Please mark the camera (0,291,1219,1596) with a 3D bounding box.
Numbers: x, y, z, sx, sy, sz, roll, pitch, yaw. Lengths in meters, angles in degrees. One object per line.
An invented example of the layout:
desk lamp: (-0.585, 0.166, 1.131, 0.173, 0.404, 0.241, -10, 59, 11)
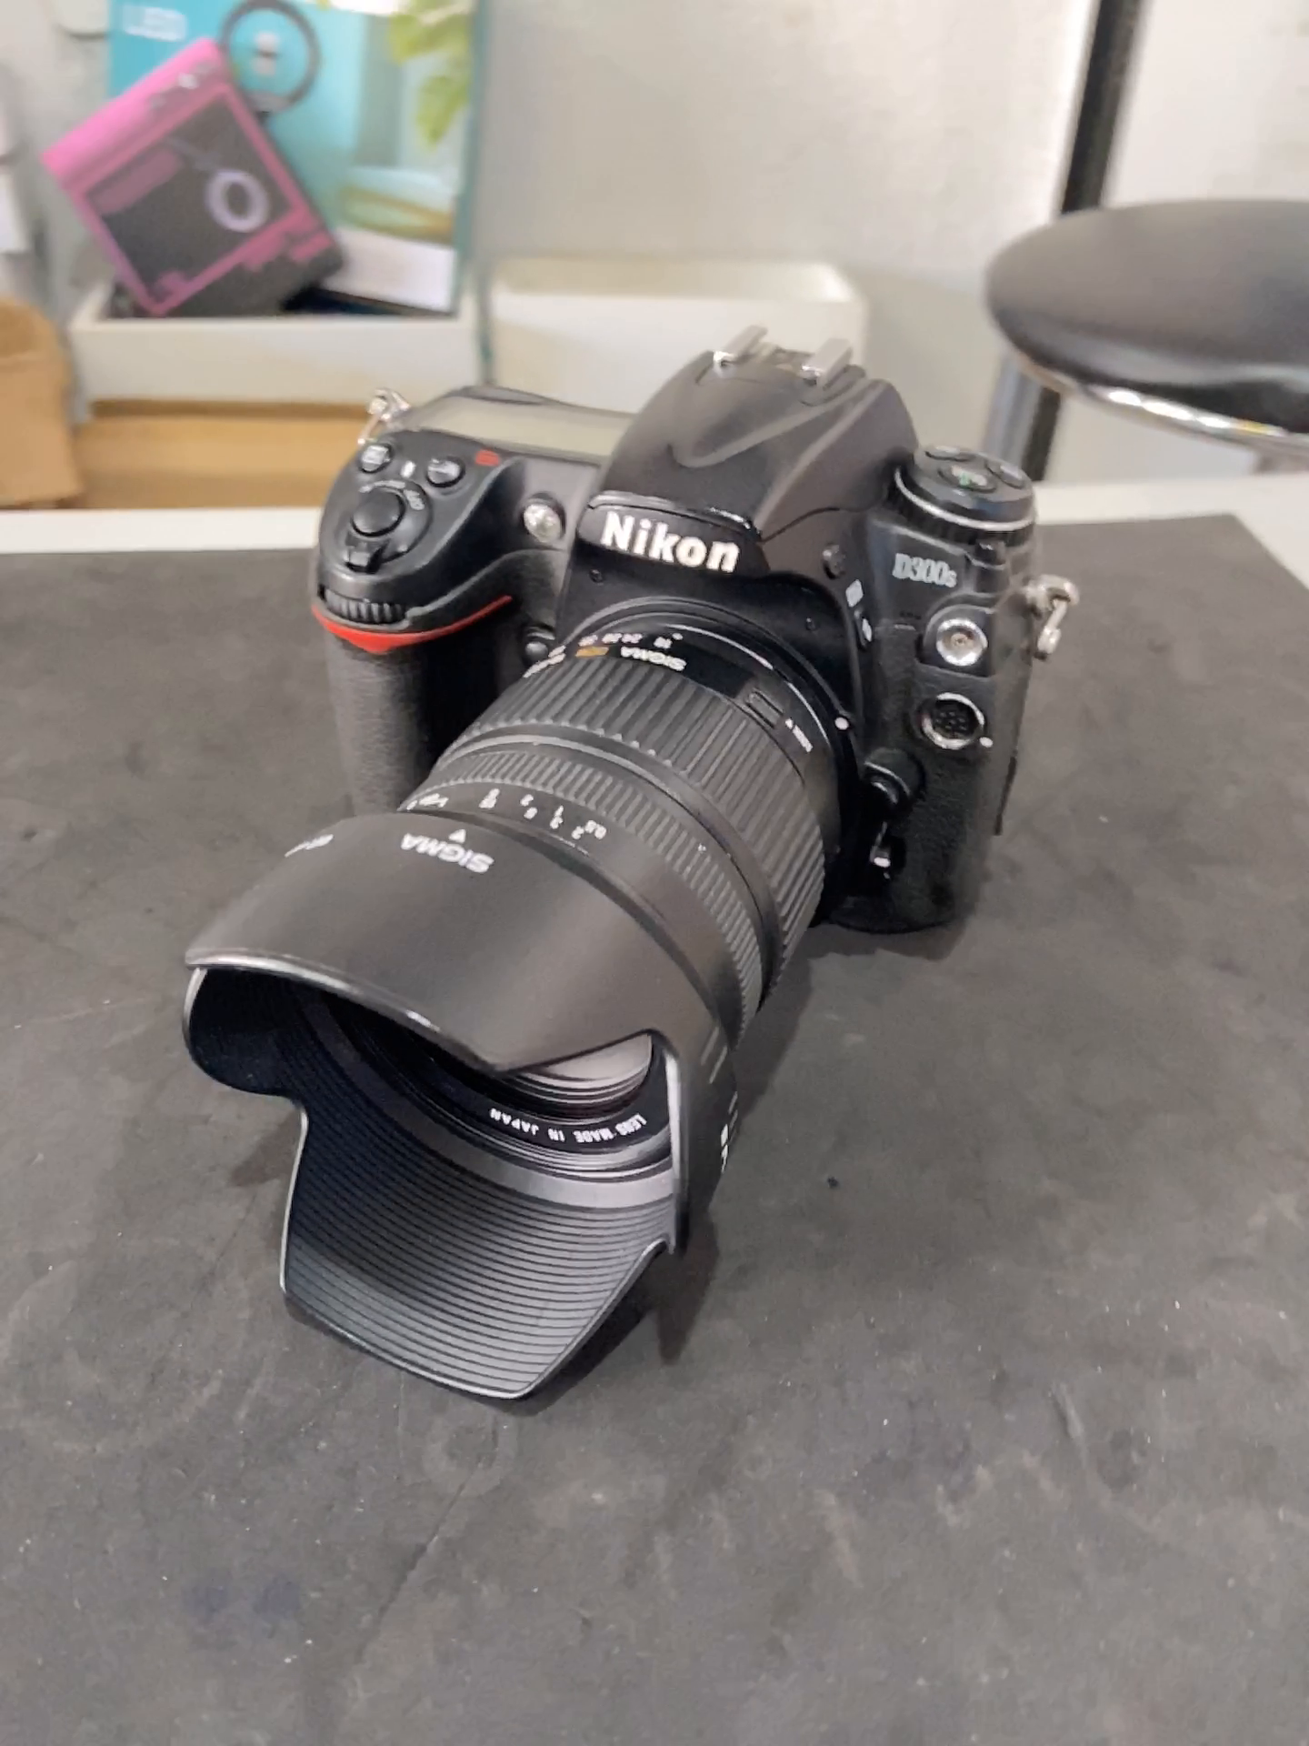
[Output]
camera: (-0.012, -0.017, 0.247, 0.170, 0.109, 0.181, 16, 39, 20)
